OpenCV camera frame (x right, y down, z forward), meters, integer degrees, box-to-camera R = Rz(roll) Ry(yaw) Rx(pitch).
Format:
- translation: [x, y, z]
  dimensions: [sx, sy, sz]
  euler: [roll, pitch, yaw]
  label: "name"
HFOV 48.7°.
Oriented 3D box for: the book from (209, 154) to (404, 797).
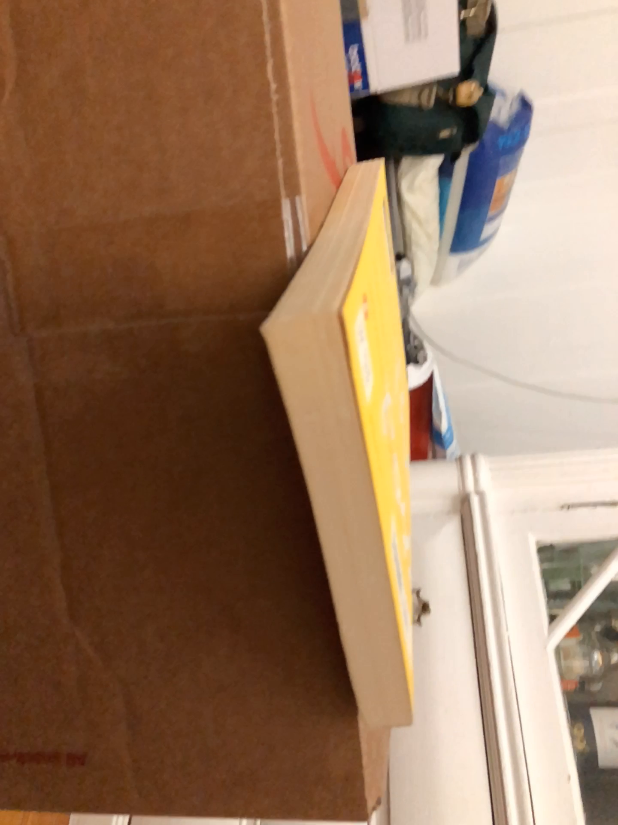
- translation: [0.017, -0.002, 0.260]
  dimensions: [0.211, 0.020, 0.150]
  euler: [-74, 157, -60]
  label: "book"
